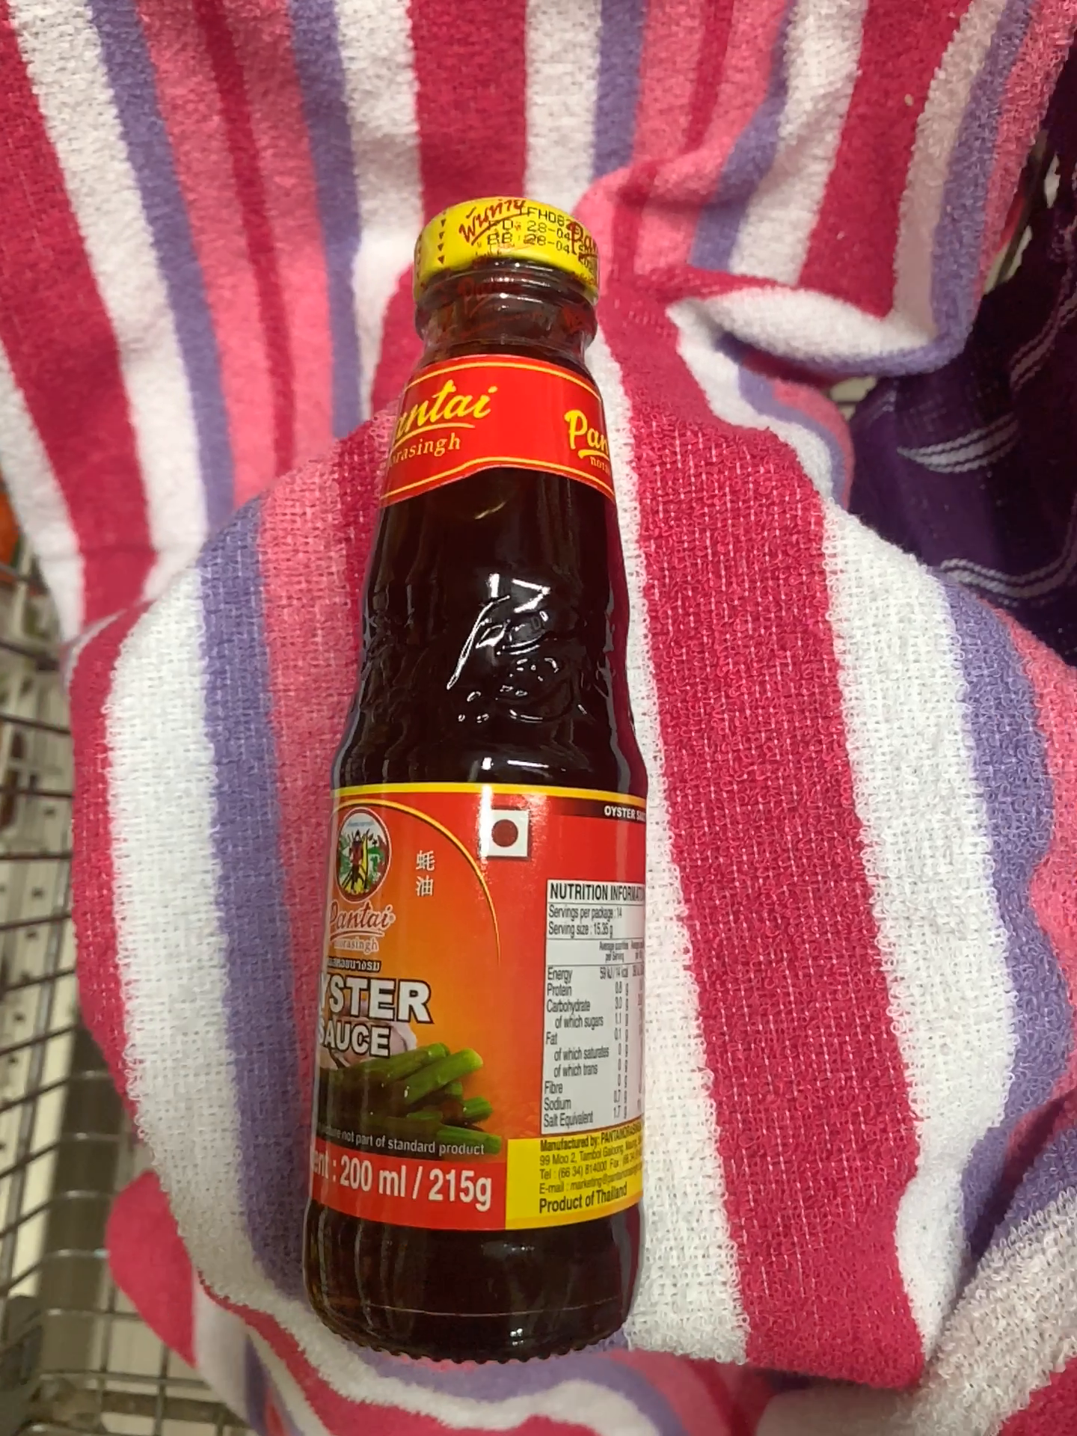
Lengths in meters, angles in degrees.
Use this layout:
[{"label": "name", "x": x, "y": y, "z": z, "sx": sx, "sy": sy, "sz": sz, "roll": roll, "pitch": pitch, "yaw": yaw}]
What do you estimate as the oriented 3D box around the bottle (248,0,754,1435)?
[{"label": "bottle", "x": -0.002, "y": -0.003, "z": 0.178, "sx": 0.050, "sy": 0.050, "sz": 0.190, "roll": -7, "pitch": 76, "yaw": 44}]
